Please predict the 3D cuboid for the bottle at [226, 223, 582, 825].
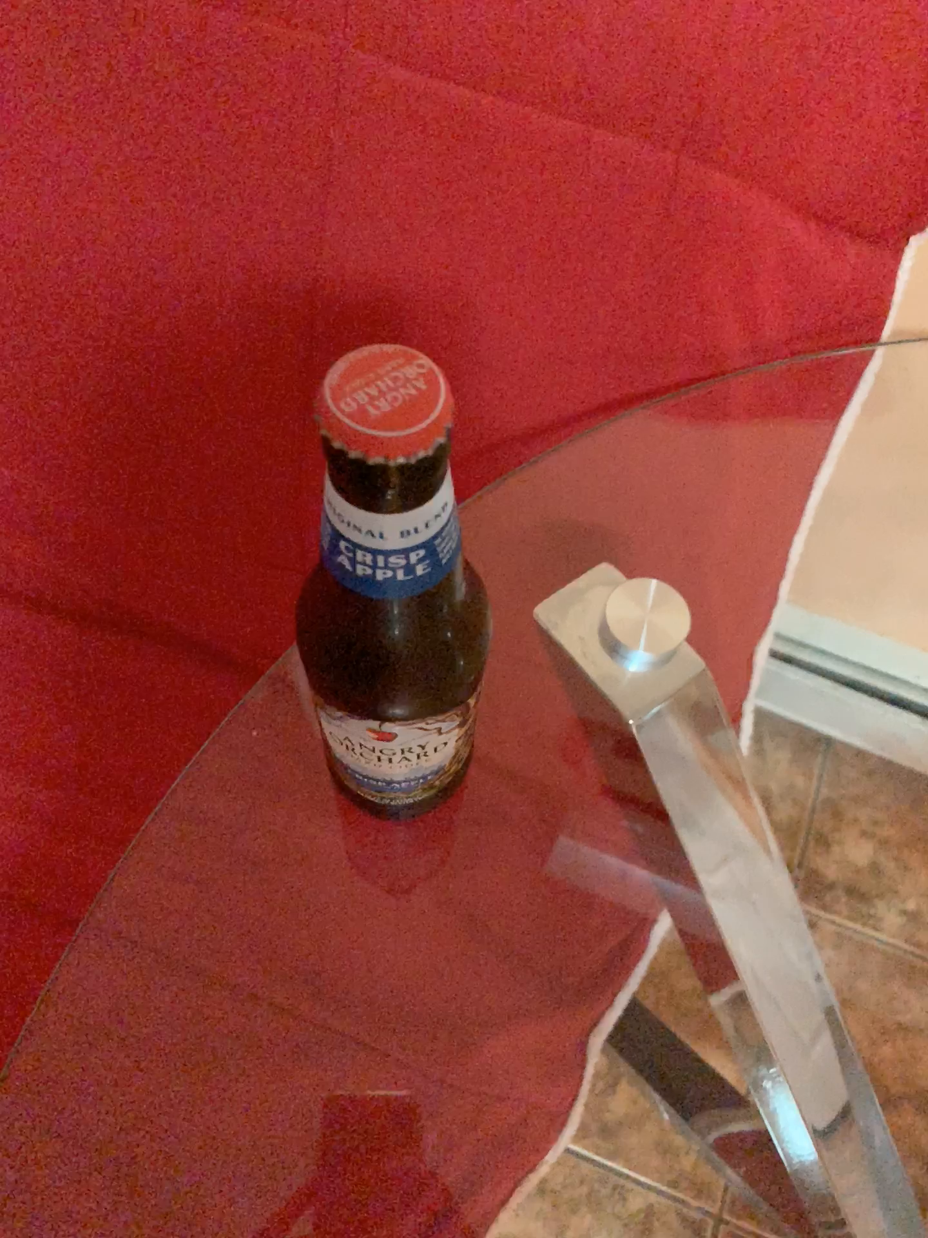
[{"bbox_3d":[-0.018,-0.003,0.306,0.070,0.232,0.070,2,62,-3],"label":"bottle"}]
